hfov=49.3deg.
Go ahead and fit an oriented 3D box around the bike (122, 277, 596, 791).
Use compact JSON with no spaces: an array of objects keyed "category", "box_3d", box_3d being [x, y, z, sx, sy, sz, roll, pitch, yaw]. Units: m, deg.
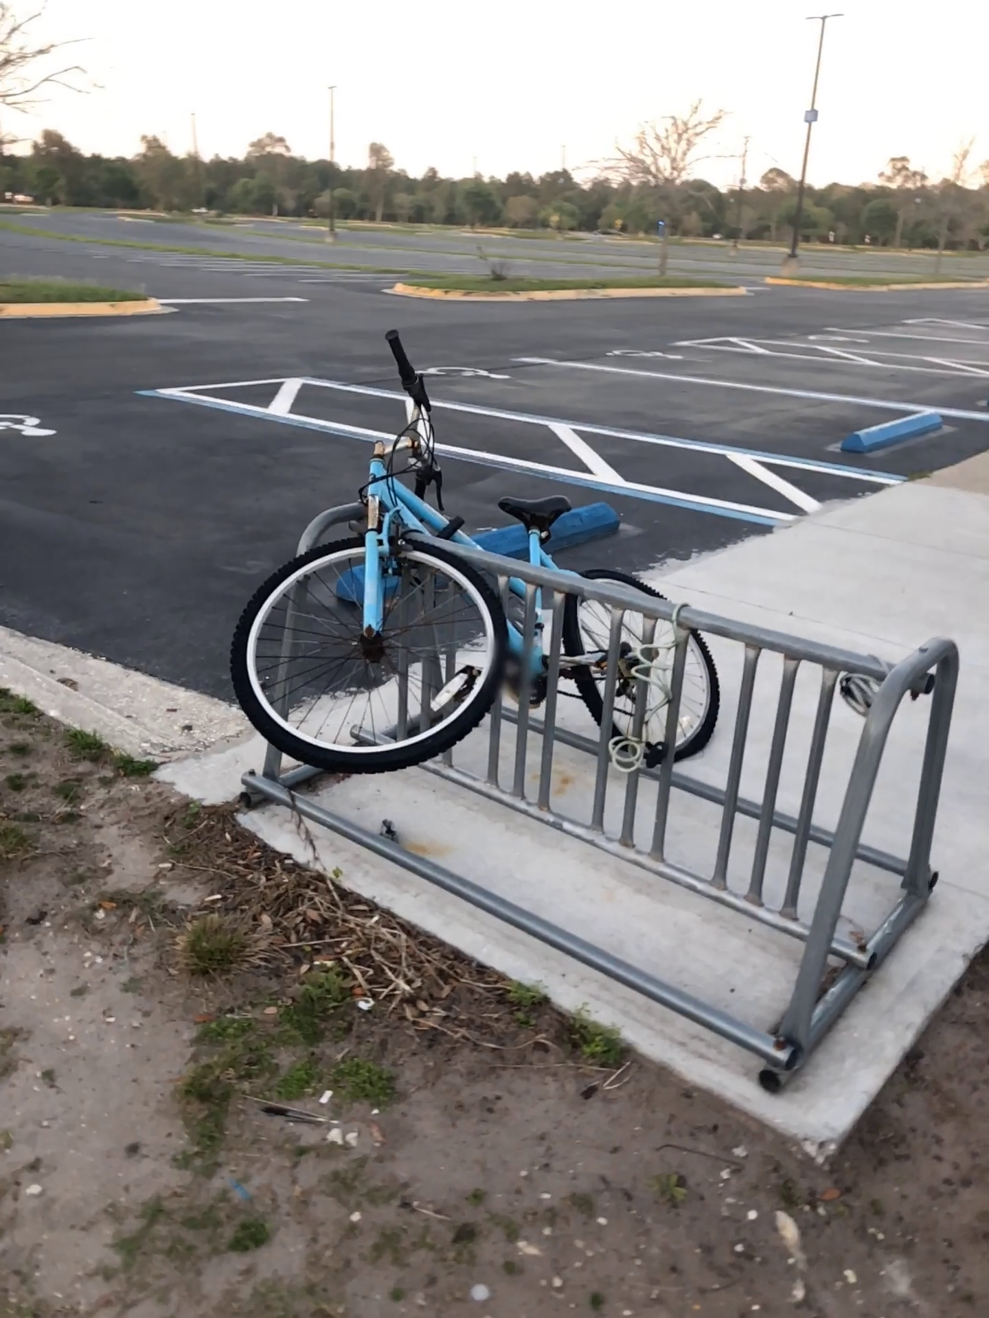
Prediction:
[{"category":"bike","box_3d":[-0.353,-0.329,2.792,0.938,1.128,0.550,-7,23,-27]}]
